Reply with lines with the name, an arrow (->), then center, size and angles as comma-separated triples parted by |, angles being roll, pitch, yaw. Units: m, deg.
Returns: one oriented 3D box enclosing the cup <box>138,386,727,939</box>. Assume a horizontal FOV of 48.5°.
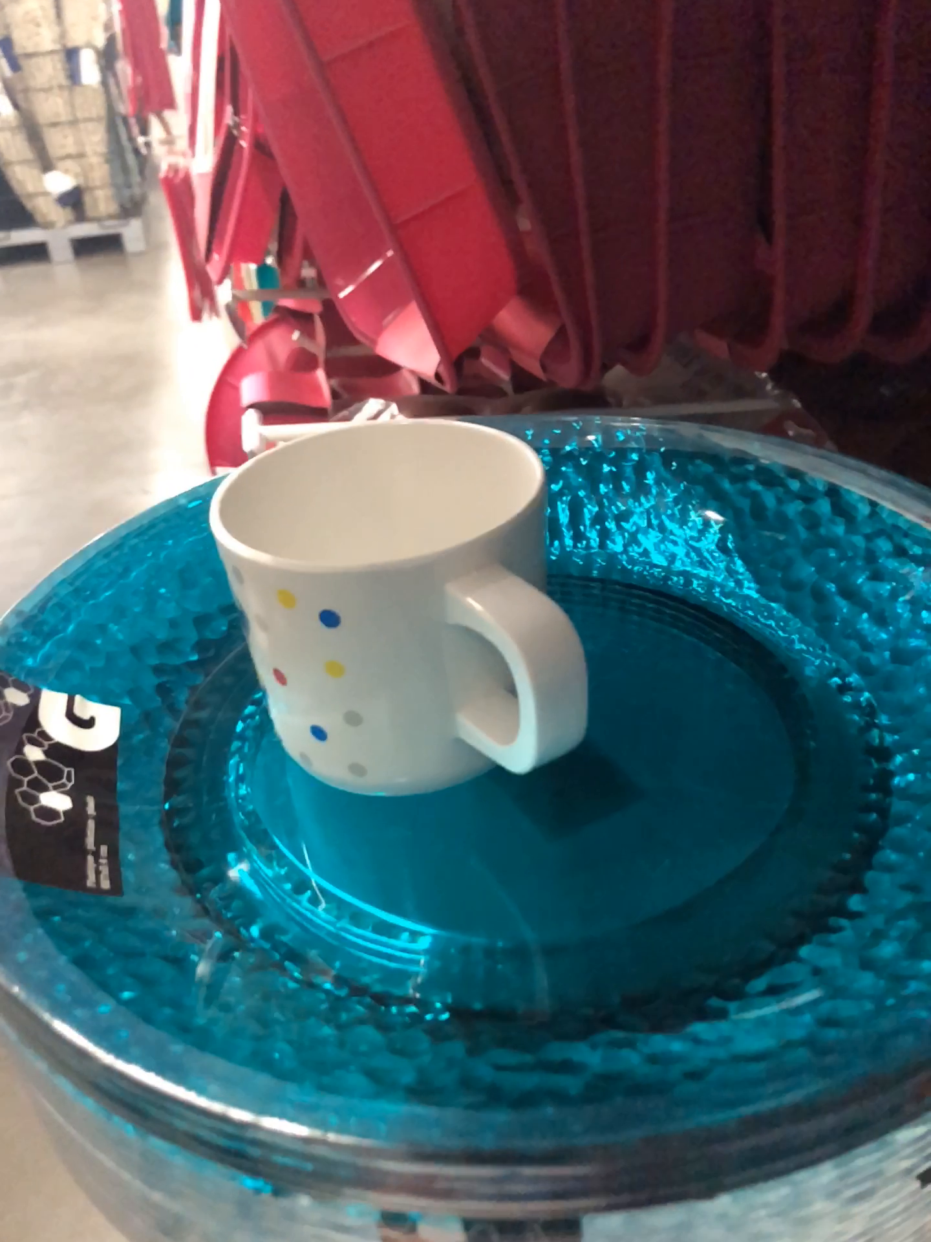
cup -> -0.011, -0.002, 0.237 | 0.081, 0.059, 0.109 | -23, 37, -26
